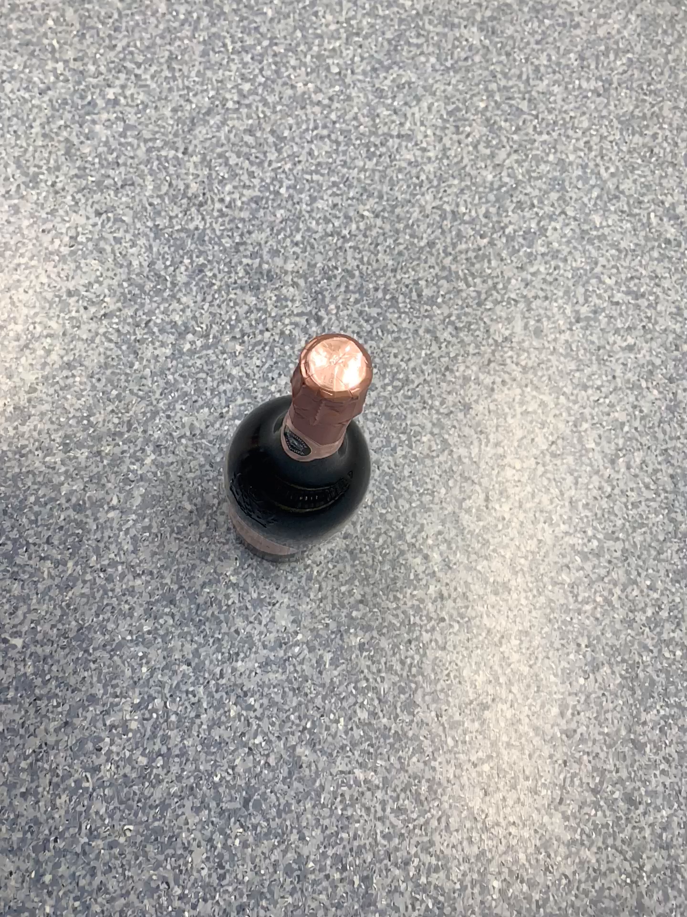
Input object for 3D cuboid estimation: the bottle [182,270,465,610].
[{"bbox_3d":[-0.030,0.015,0.423,0.079,0.270,0.094,-38,82,-19],"label":"bottle"}]
